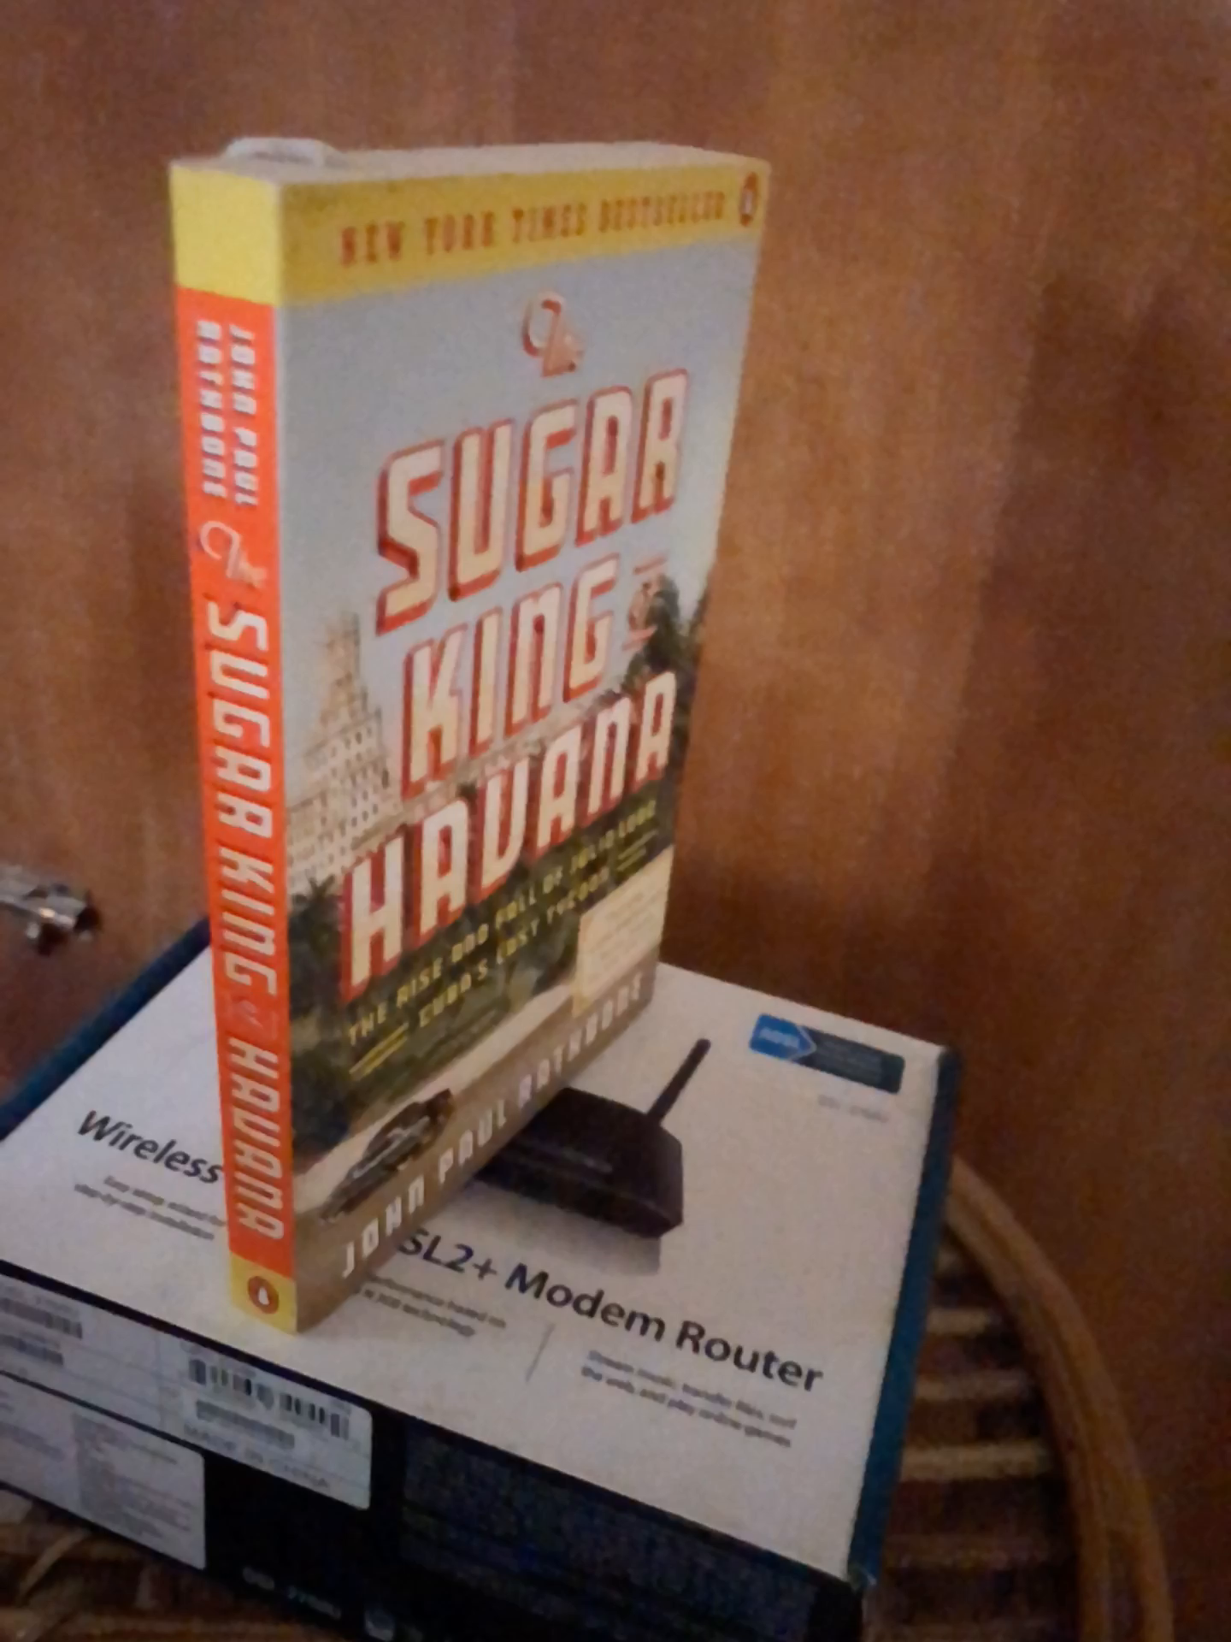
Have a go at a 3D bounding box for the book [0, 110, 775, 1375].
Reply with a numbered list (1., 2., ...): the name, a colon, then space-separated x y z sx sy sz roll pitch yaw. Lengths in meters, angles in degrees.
1. book: -0.029 -0.019 0.271 0.030 0.209 0.151 21 35 26
